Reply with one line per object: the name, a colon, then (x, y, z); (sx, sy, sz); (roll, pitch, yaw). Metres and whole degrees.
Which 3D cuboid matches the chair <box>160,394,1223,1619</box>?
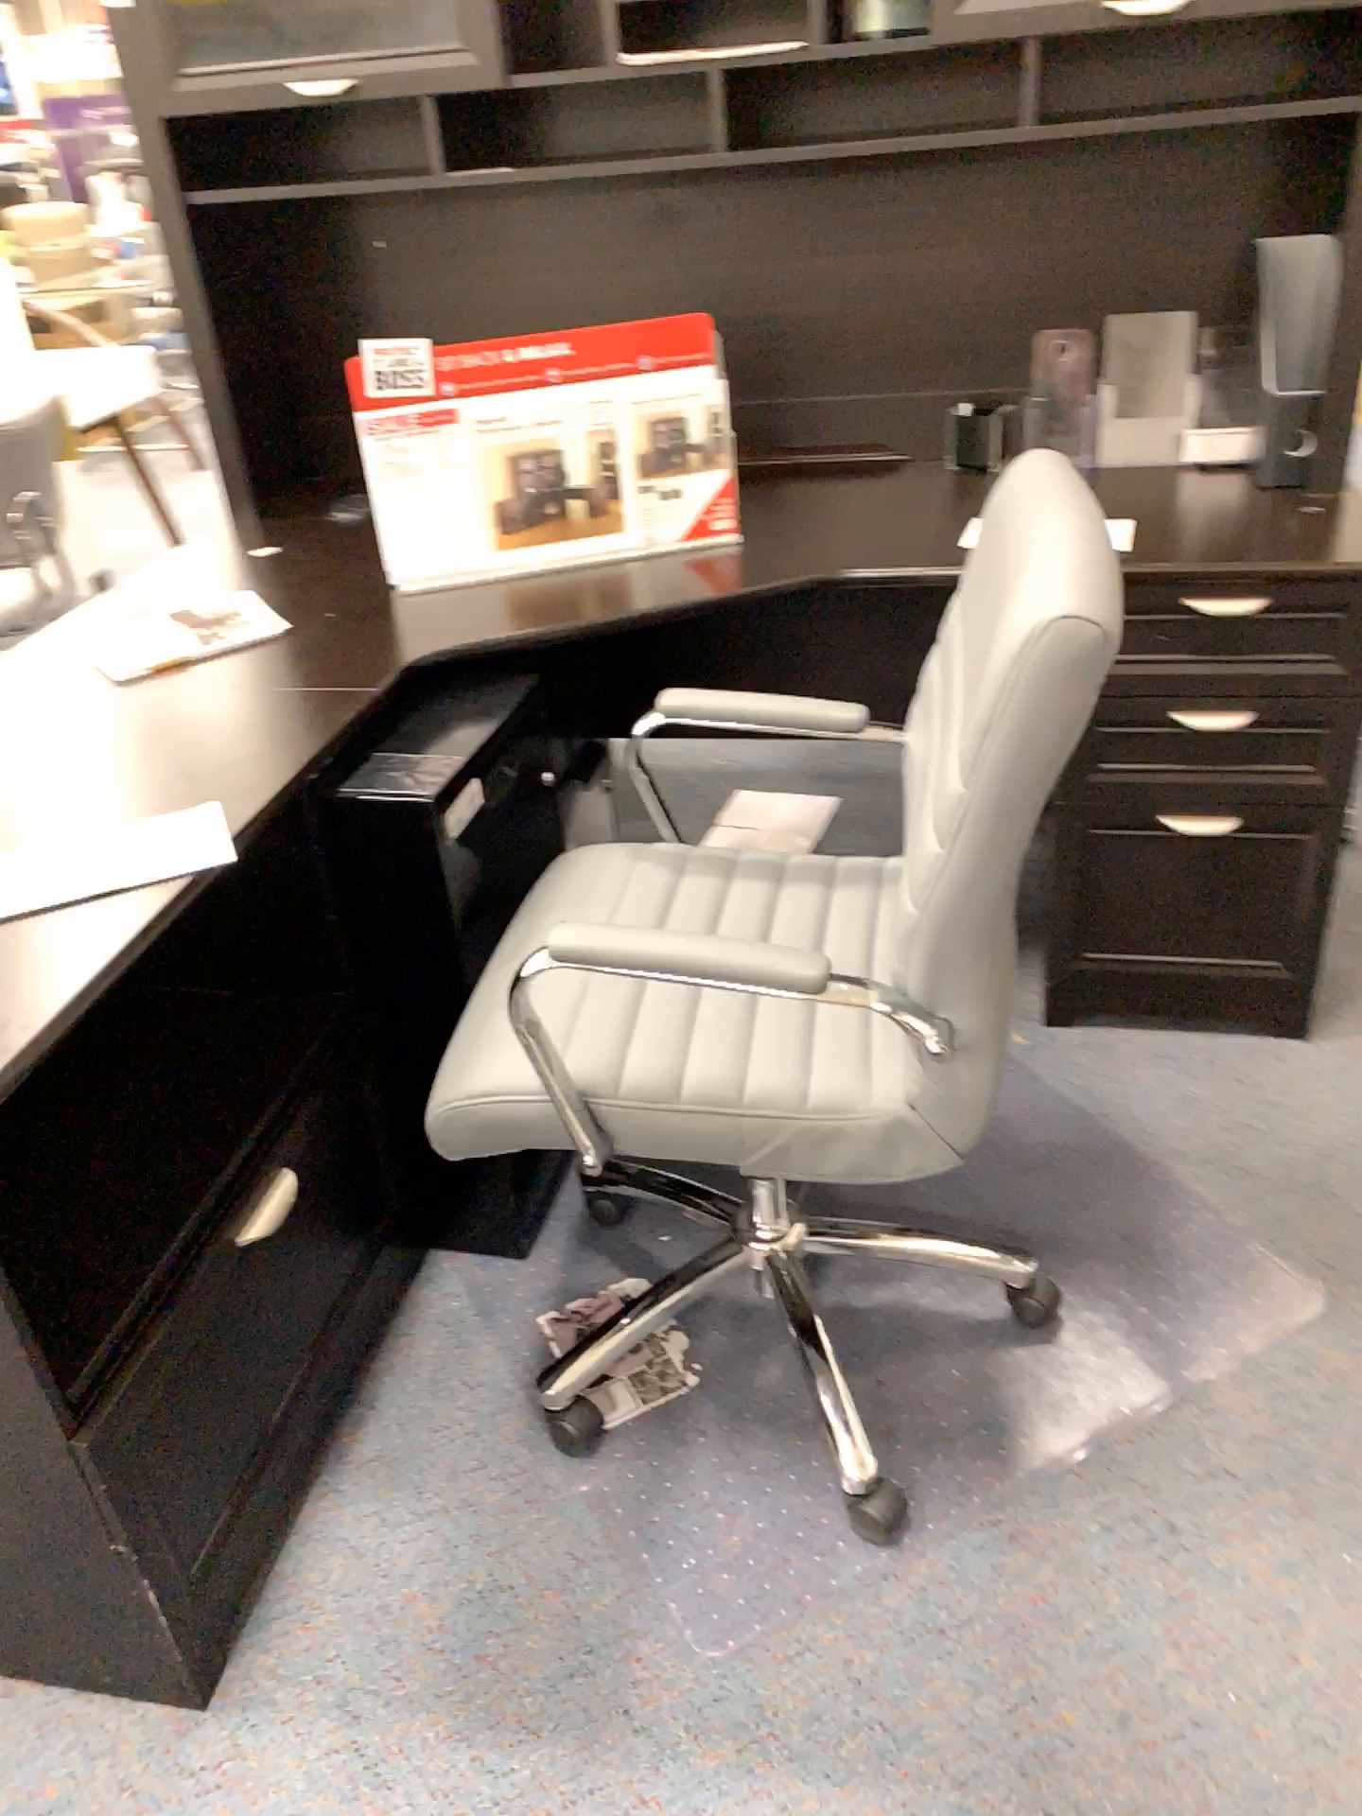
chair: (0.089, 0.060, 1.408); (0.707, 0.962, 0.660); (4, 32, 14)
